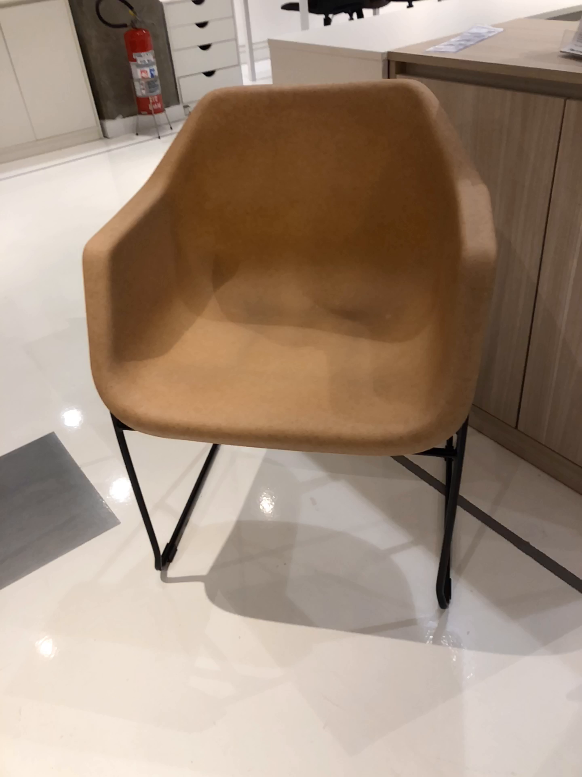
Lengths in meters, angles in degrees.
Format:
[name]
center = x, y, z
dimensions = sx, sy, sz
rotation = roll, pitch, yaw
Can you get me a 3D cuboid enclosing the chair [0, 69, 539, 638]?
[chair]
center = 0.026, -0.078, 1.078
dimensions = 0.590, 0.705, 0.574
rotation = 2, 37, 12
